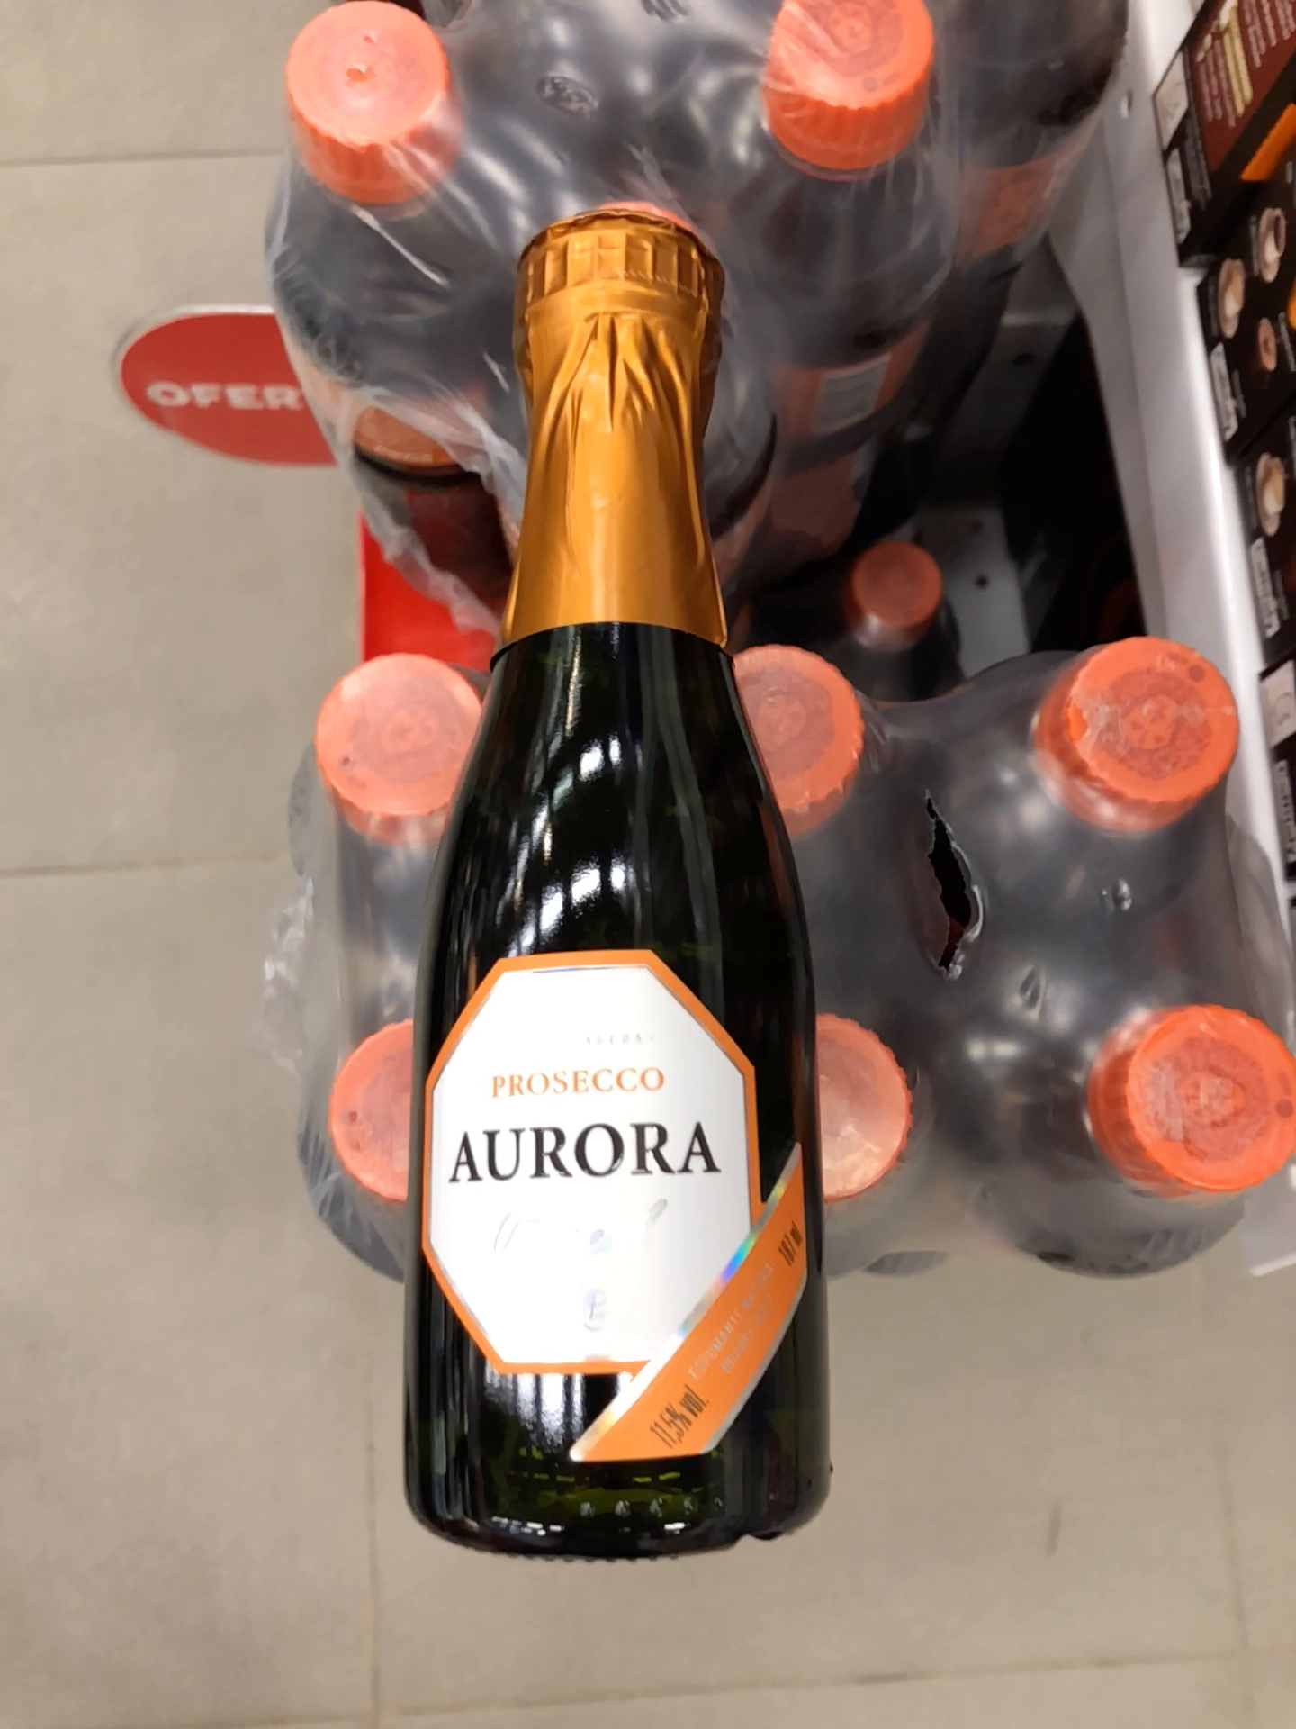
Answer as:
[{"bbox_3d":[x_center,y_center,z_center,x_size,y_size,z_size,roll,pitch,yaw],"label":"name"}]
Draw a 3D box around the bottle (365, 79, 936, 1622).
[{"bbox_3d":[0.002,-0.005,0.192,0.060,0.050,0.180,1,80,-1],"label":"bottle"}]
